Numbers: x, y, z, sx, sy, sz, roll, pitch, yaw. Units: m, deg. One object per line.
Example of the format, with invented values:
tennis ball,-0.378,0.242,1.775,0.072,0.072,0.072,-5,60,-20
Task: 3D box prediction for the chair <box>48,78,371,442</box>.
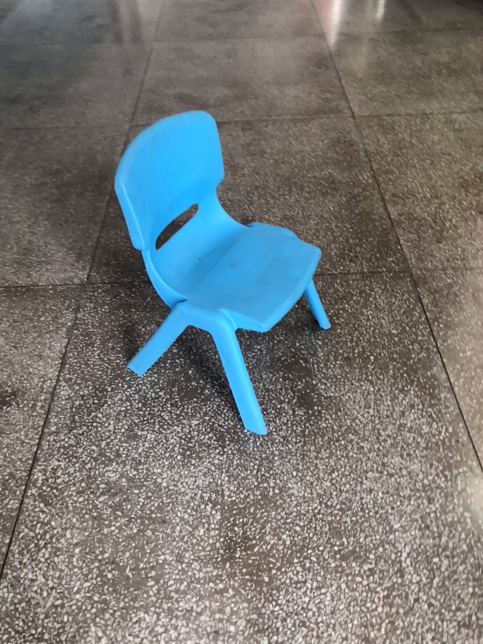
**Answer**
chair,-0.033,-0.125,1.051,0.390,0.499,0.381,21,49,21
